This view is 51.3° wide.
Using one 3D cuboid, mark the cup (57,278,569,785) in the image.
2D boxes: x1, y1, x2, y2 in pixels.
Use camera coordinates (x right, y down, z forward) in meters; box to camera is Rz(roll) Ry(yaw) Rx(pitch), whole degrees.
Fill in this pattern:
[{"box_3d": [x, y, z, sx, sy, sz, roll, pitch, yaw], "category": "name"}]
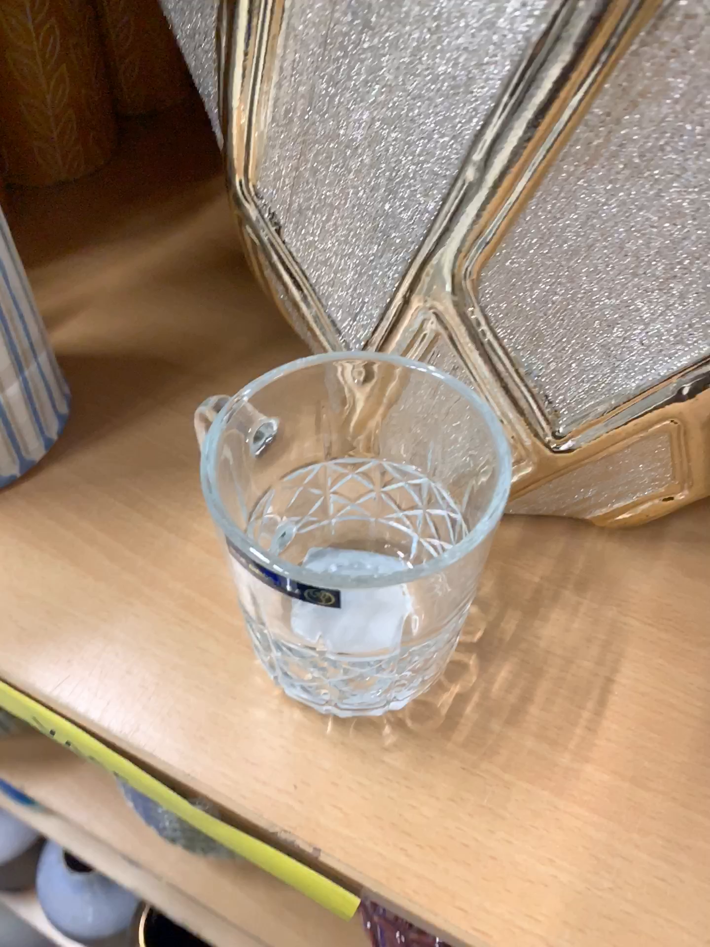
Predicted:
[{"box_3d": [-0.010, 0.016, 0.210, 0.100, 0.090, 0.070, 25, 53, 19], "category": "cup"}]
